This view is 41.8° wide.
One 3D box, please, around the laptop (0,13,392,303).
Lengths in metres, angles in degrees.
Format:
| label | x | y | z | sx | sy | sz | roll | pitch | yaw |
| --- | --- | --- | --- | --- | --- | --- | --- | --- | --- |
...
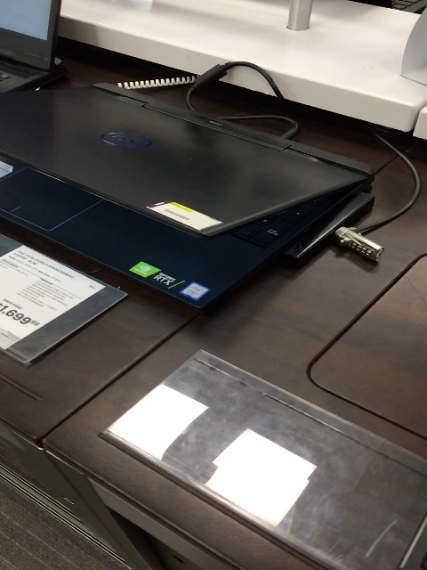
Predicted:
| label | x | y | z | sx | sy | sz | roll | pitch | yaw |
| --- | --- | --- | --- | --- | --- | --- | --- | --- | --- |
| laptop | -0.085 | -0.149 | 0.569 | 0.387 | 0.092 | 0.245 | 26 | 54 | 19 |
